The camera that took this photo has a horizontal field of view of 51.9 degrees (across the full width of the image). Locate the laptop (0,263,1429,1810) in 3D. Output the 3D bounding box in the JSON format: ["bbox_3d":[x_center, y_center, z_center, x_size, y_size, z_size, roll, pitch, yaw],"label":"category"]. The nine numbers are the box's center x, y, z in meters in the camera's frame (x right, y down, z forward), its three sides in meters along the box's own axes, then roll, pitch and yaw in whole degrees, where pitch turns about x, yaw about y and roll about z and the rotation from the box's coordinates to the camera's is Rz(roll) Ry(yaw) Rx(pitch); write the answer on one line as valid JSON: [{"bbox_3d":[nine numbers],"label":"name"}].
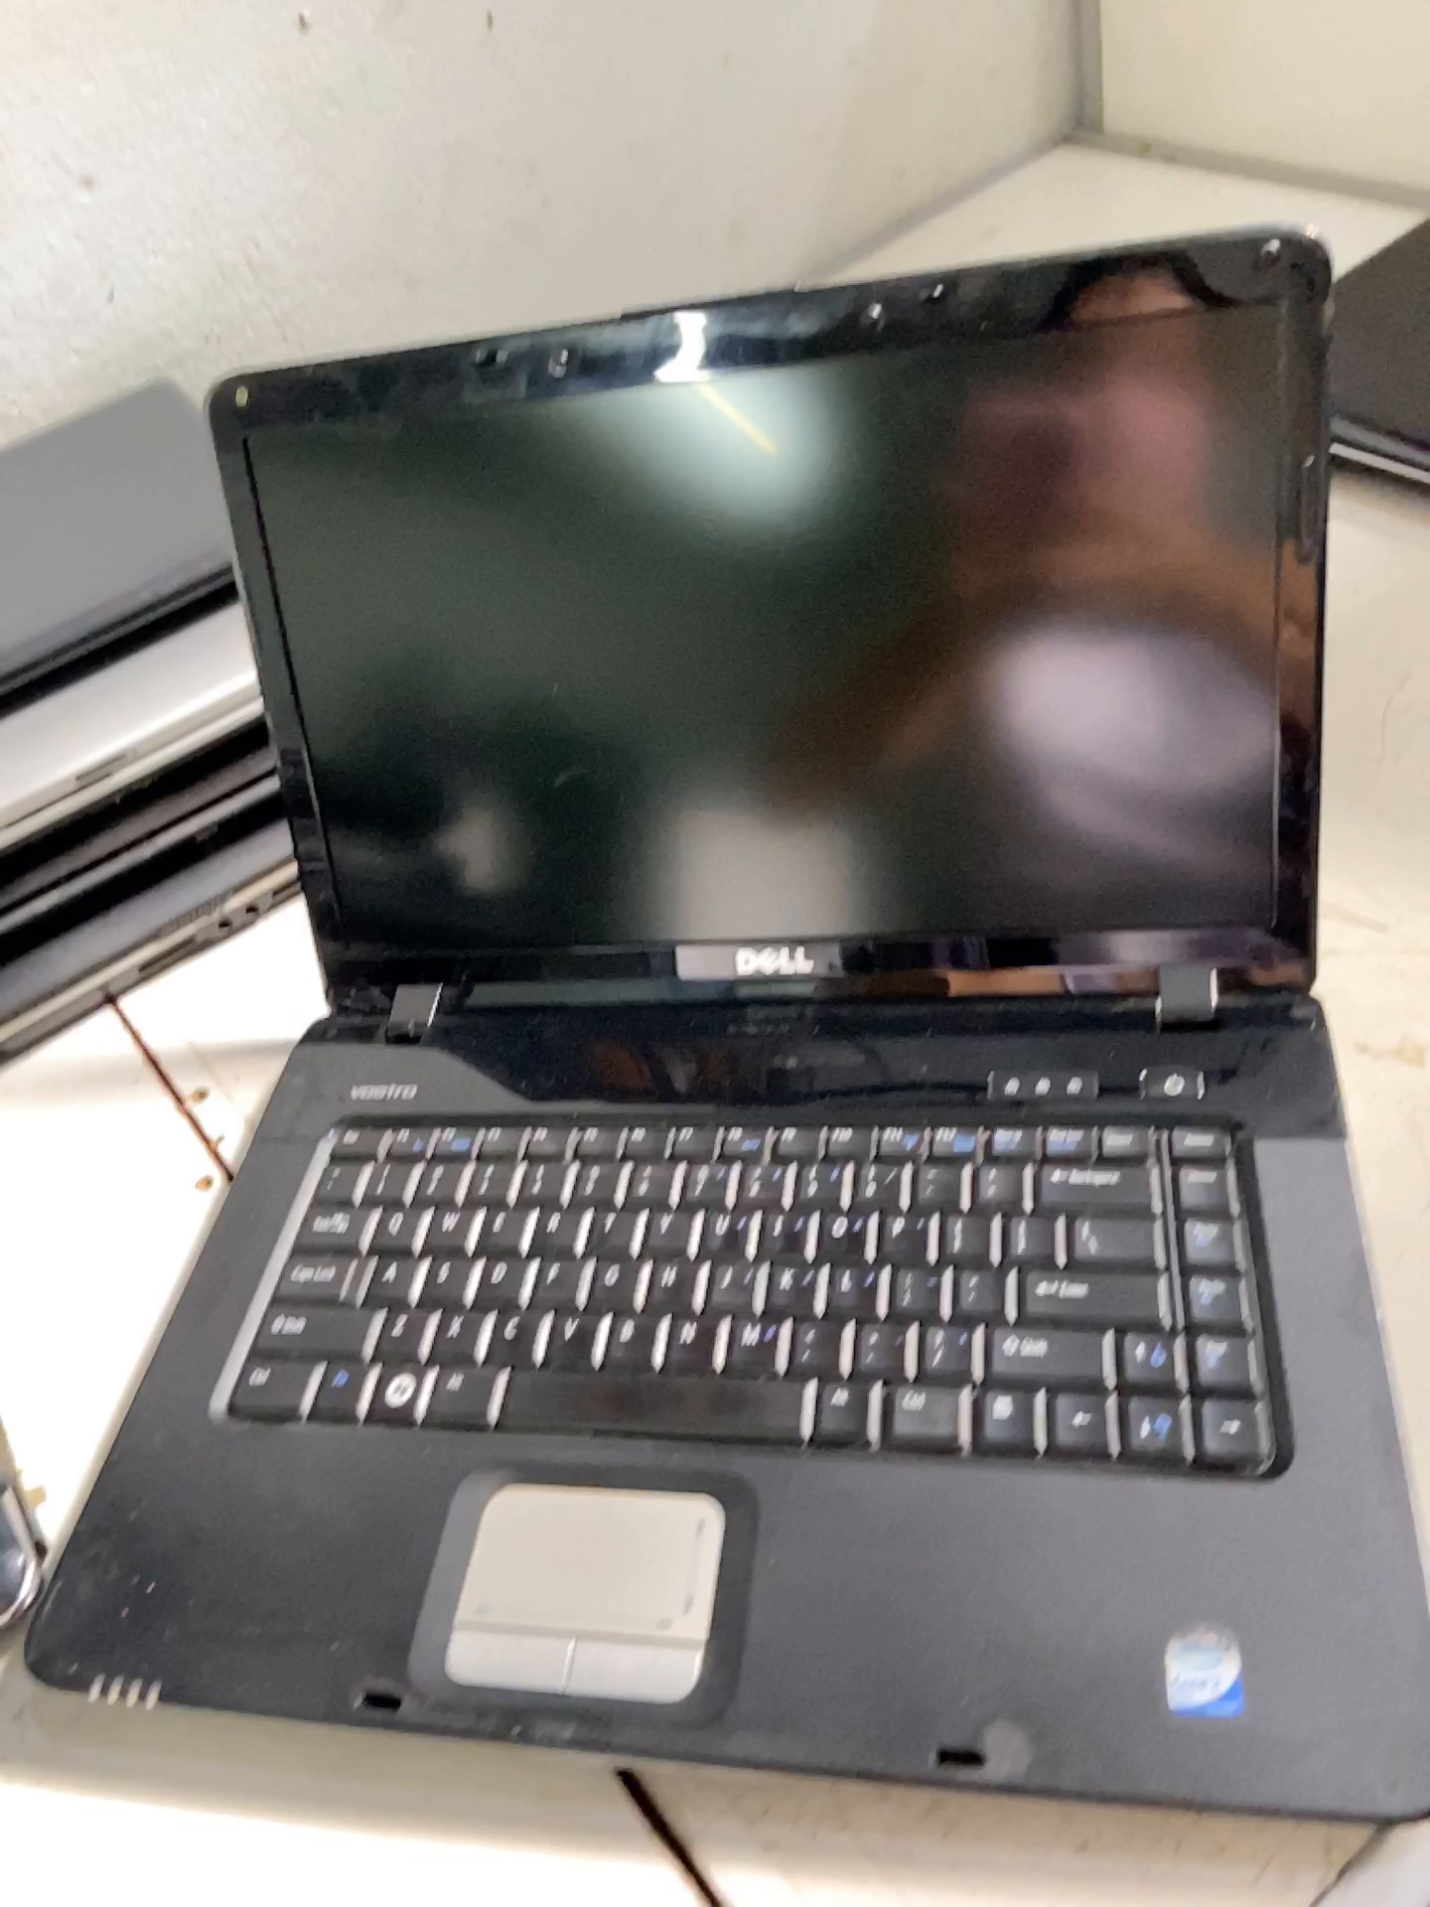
[{"bbox_3d":[-0.010,0.001,0.422,0.364,0.203,0.354,-2,44,15],"label":"laptop"}]
